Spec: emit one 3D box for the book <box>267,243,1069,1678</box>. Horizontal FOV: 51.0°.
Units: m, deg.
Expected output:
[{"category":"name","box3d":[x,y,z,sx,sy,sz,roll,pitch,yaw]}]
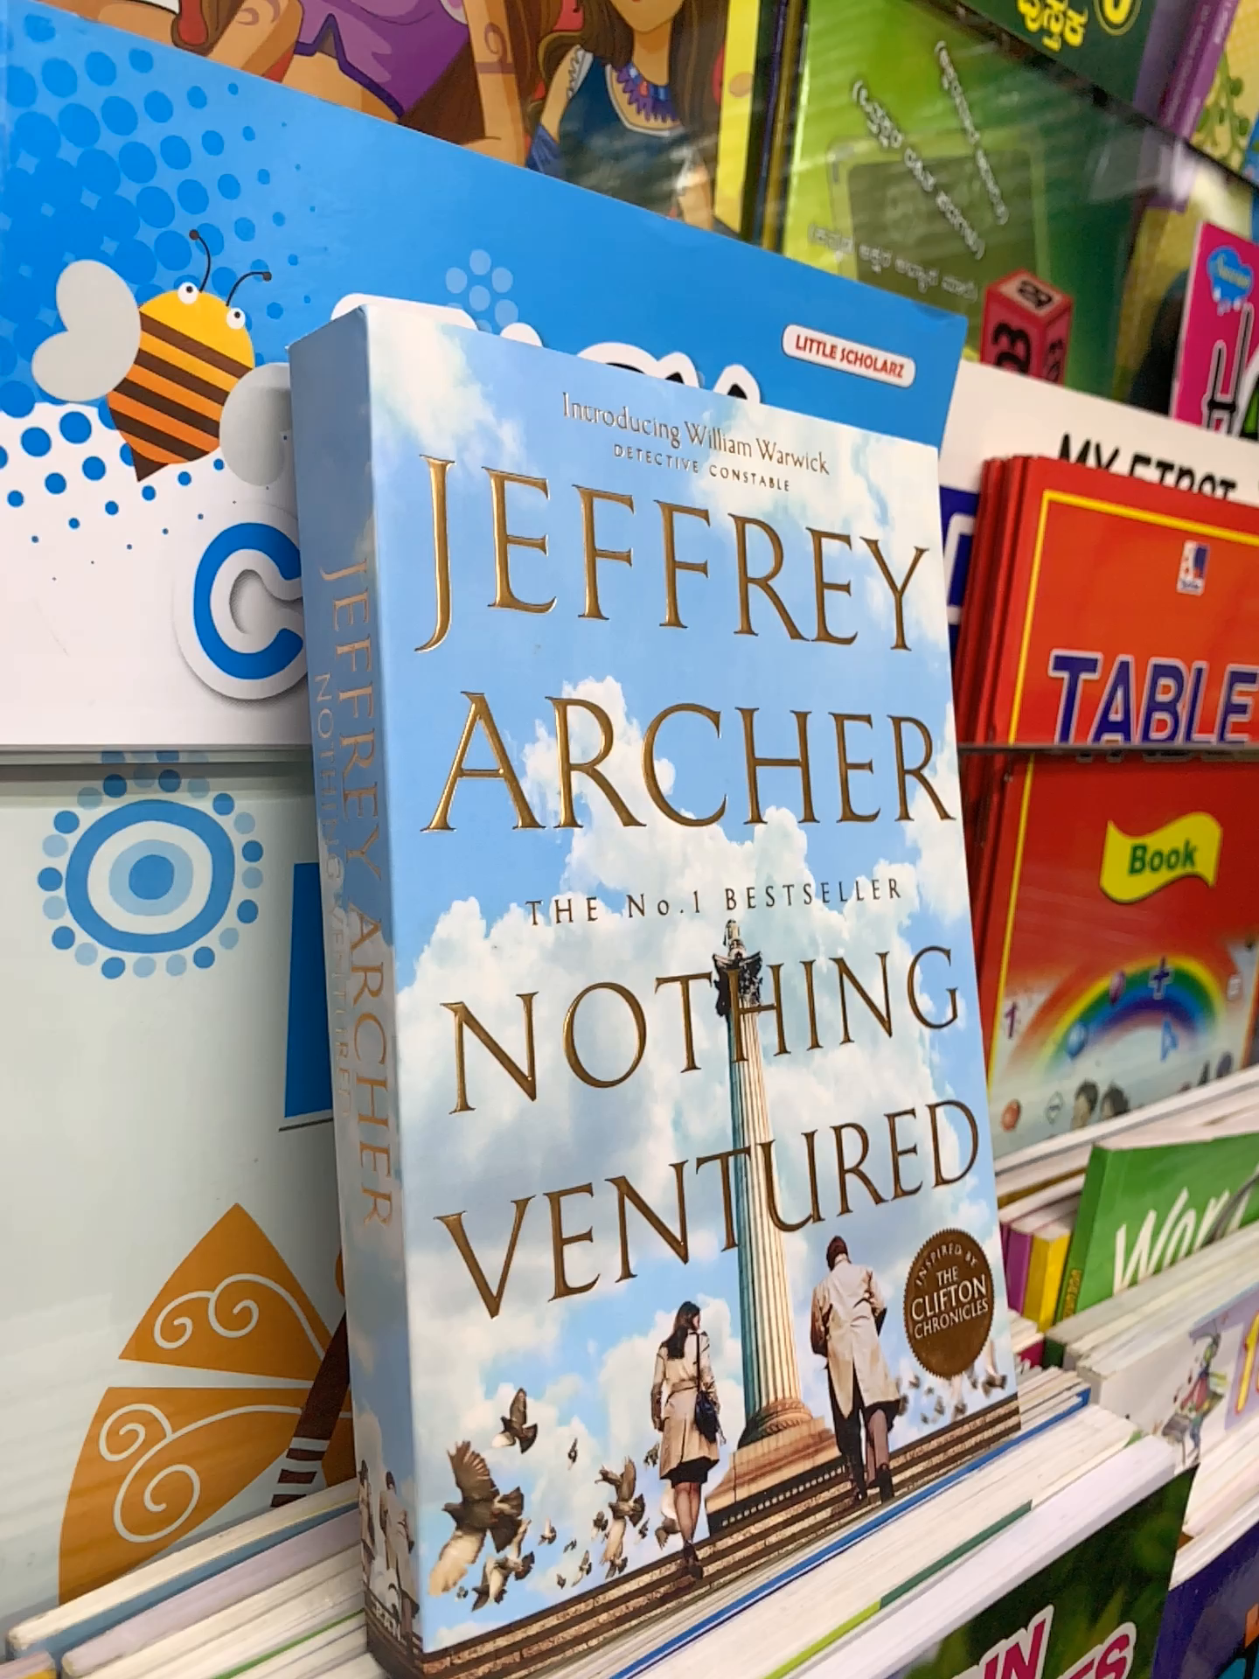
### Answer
[{"category":"book","box3d":[0.013,0.016,0.218,0.130,0.190,0.030,-2,-4,-38]}]
